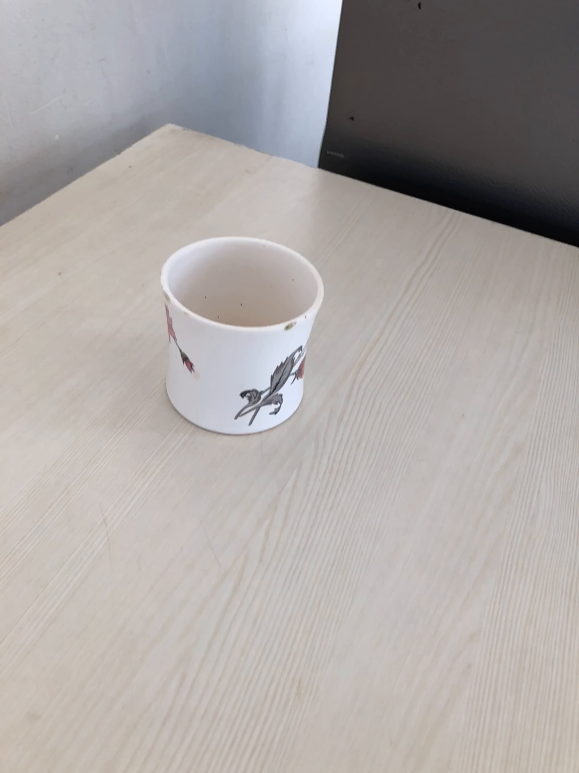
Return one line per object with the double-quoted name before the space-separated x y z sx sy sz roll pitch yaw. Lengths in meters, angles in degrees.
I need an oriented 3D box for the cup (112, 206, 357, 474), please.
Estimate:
"cup" -0.023 -0.026 0.310 0.080 0.070 0.091 18 44 10
